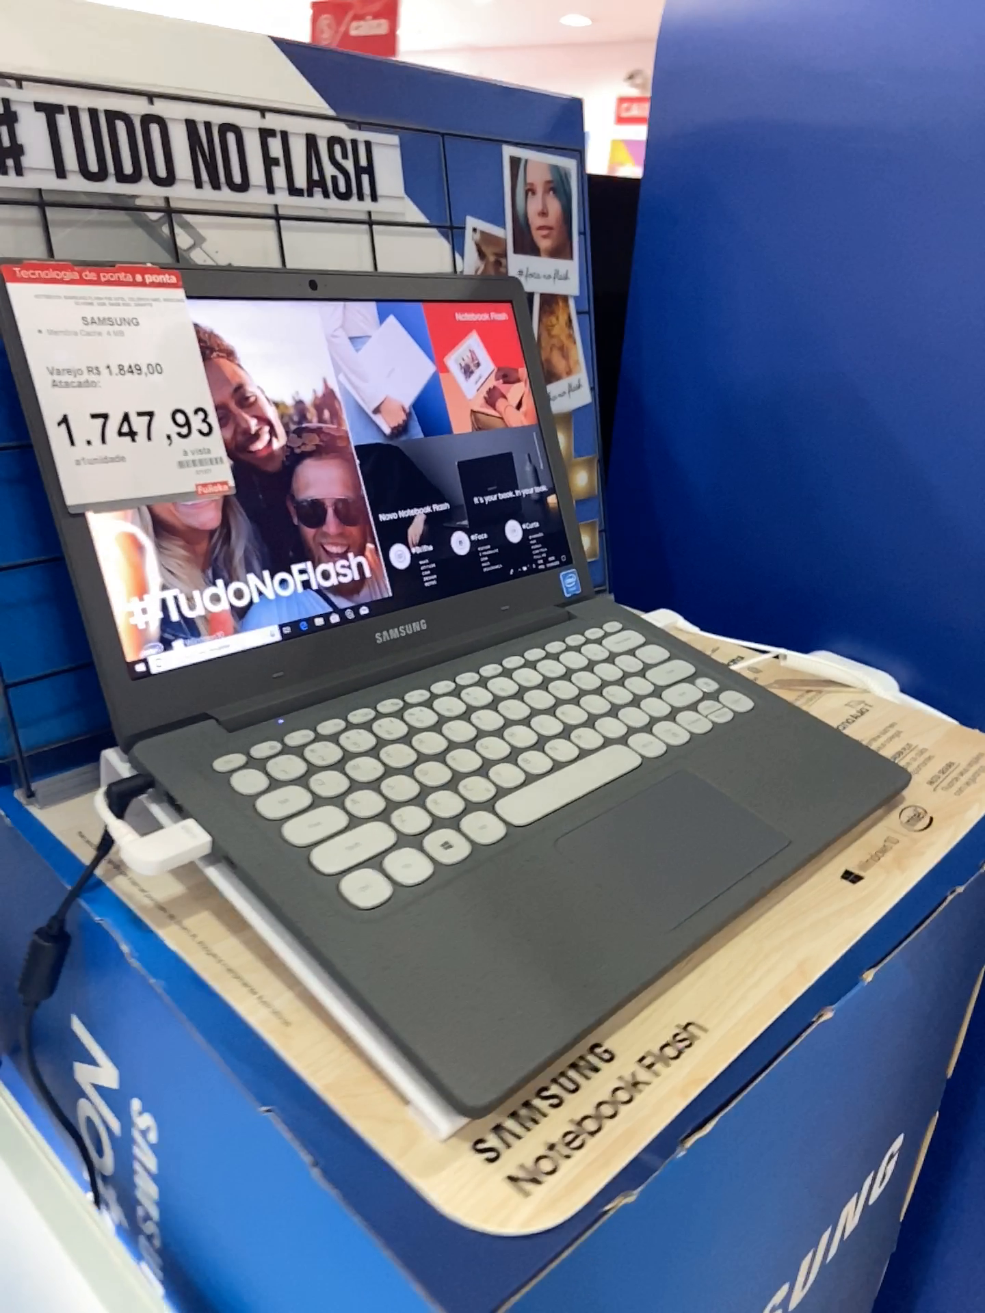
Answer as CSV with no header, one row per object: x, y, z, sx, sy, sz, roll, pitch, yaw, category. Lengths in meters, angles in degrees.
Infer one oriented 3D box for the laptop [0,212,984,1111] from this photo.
-0.005,-0.063,0.481,0.323,0.181,0.345,-18,39,-42,laptop
